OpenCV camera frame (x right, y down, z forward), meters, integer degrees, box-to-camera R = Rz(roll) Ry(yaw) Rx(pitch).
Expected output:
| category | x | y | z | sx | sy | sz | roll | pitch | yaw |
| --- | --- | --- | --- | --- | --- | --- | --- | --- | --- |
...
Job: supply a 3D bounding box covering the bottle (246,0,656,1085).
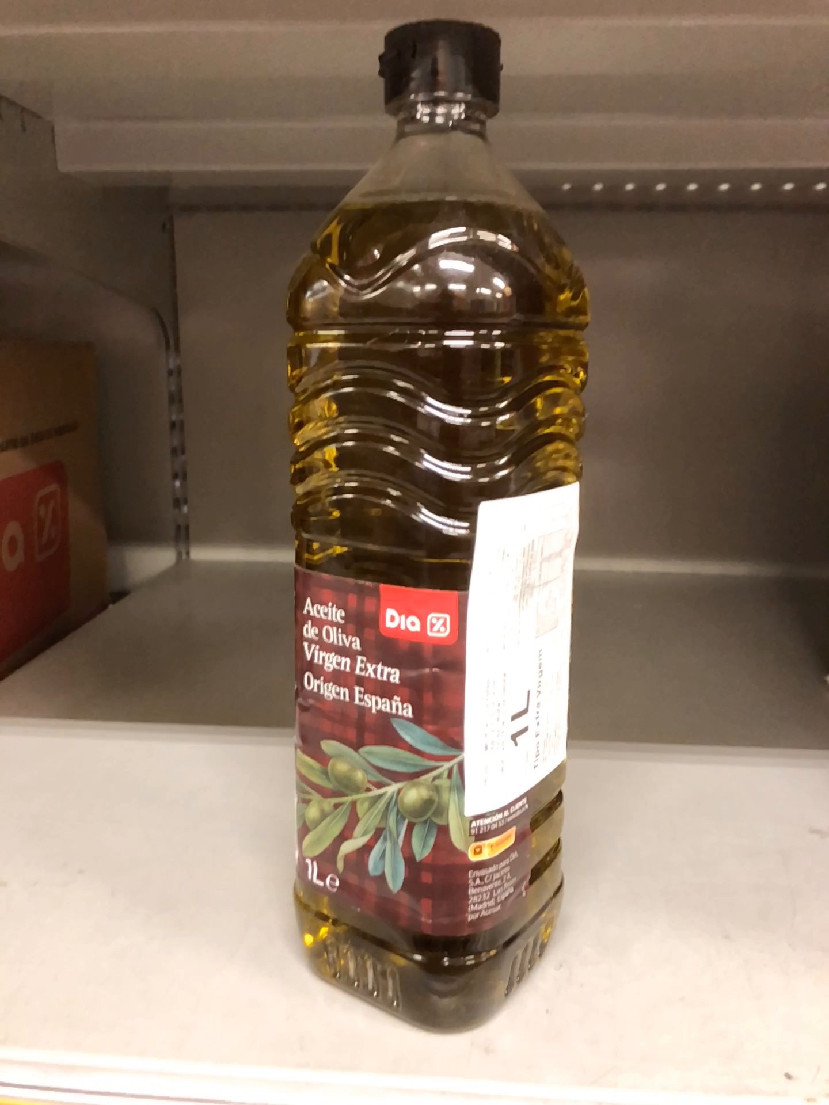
| category | x | y | z | sx | sy | sz | roll | pitch | yaw |
| --- | --- | --- | --- | --- | --- | --- | --- | --- | --- |
| bottle | 0.007 | -0.006 | 0.265 | 0.080 | 0.279 | 0.070 | 9 | 15 | 31 |
